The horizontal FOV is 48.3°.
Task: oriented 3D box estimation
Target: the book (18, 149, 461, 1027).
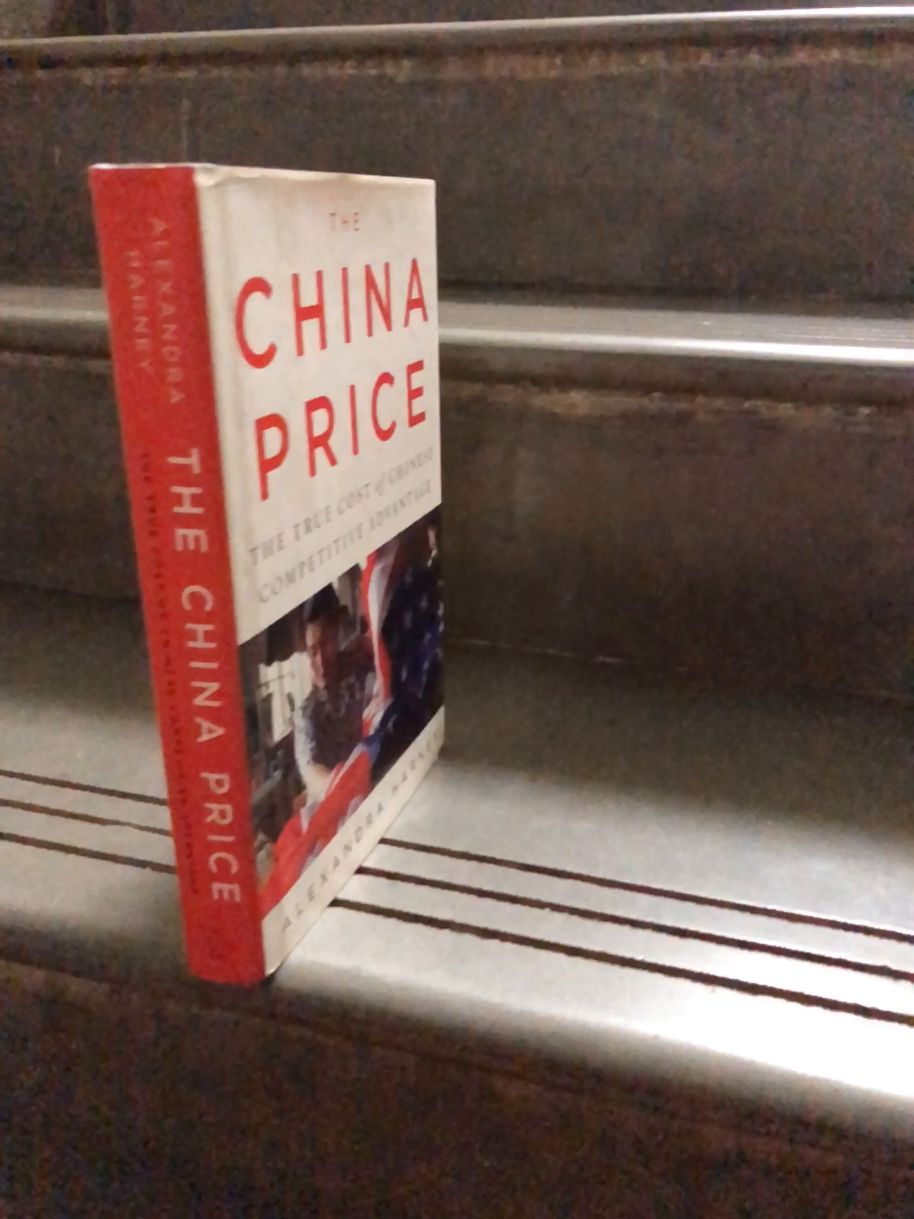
[{"bbox_3d":[-0.048,-0.021,0.345,0.040,0.239,0.181,6,23,18],"label":"book"}]
